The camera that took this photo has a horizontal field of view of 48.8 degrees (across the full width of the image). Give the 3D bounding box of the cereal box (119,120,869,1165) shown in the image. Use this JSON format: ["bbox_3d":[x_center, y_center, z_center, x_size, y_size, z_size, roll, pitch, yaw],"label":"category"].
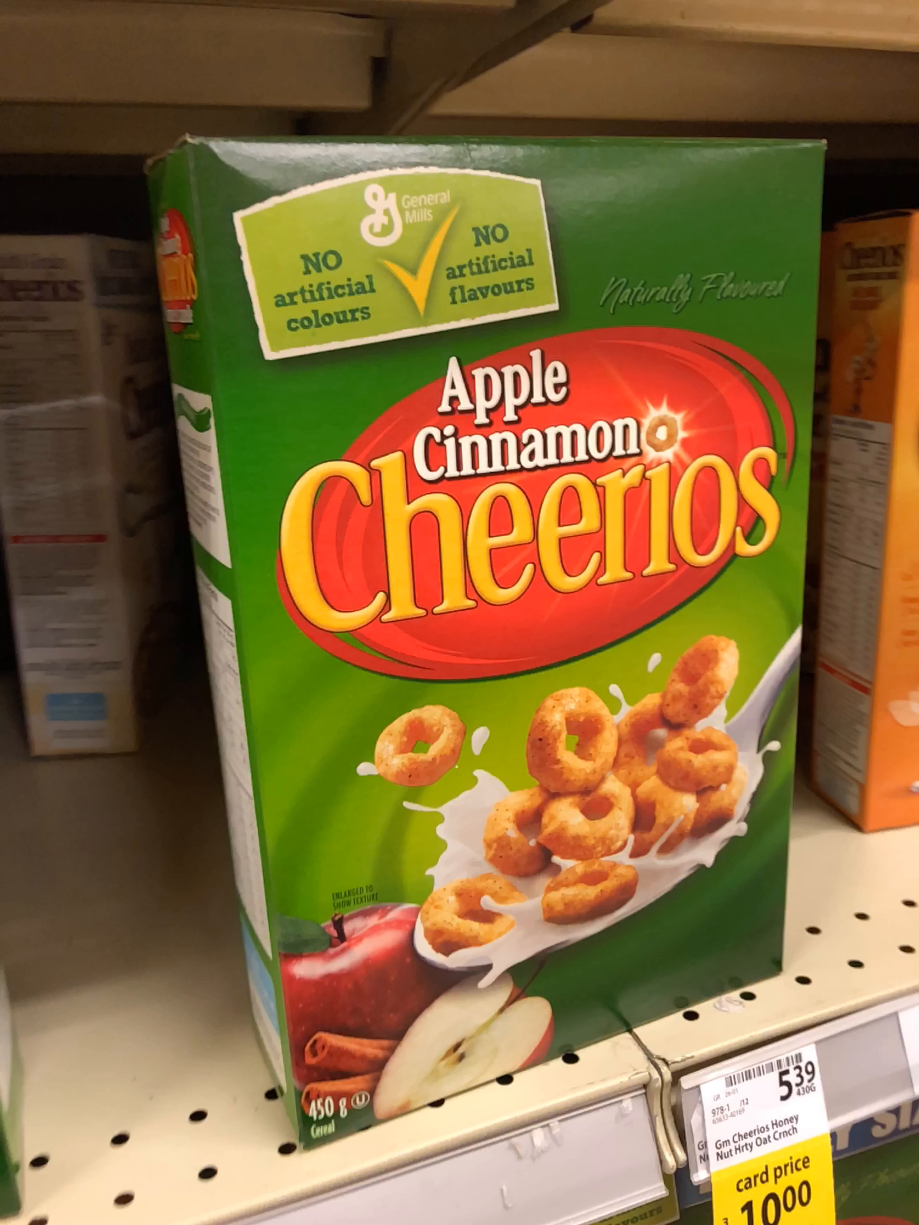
[{"bbox_3d":[0.021,0.003,0.337,0.210,0.289,0.070,-10,18,-23],"label":"cereal box"}]
